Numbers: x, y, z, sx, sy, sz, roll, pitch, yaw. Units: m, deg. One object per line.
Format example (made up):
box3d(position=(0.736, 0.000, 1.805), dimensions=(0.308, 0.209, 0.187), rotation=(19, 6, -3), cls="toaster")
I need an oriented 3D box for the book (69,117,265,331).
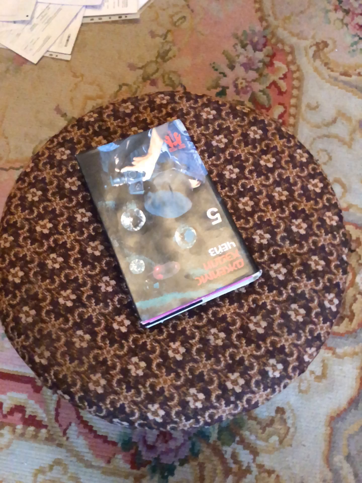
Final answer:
box3d(position=(-0.021, -0.028, 0.427), dimensions=(0.140, 0.020, 0.205), rotation=(-22, 68, -7), cls="book")
